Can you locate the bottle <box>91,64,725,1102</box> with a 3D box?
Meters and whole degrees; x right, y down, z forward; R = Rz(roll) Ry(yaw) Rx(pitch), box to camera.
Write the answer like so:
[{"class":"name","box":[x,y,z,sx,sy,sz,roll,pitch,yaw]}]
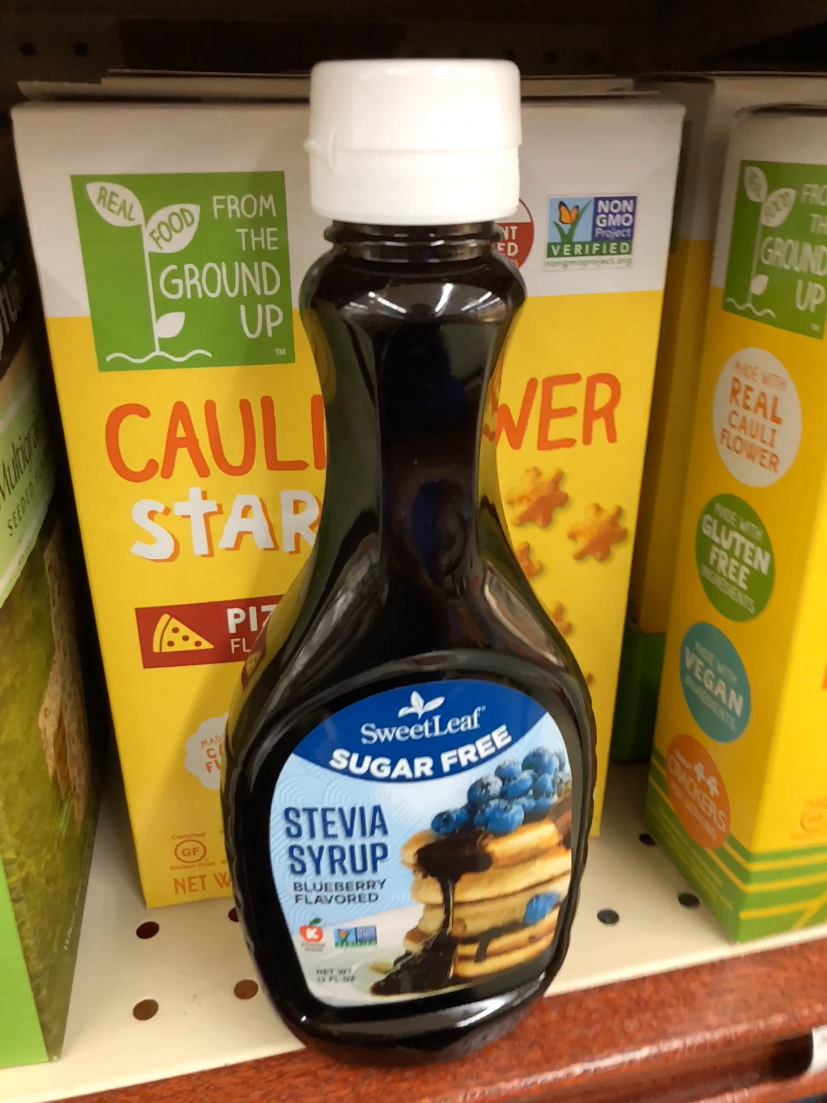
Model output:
[{"class":"bottle","box":[-0.005,0.018,0.182,0.080,0.199,0.050,-4,27,-10]}]
